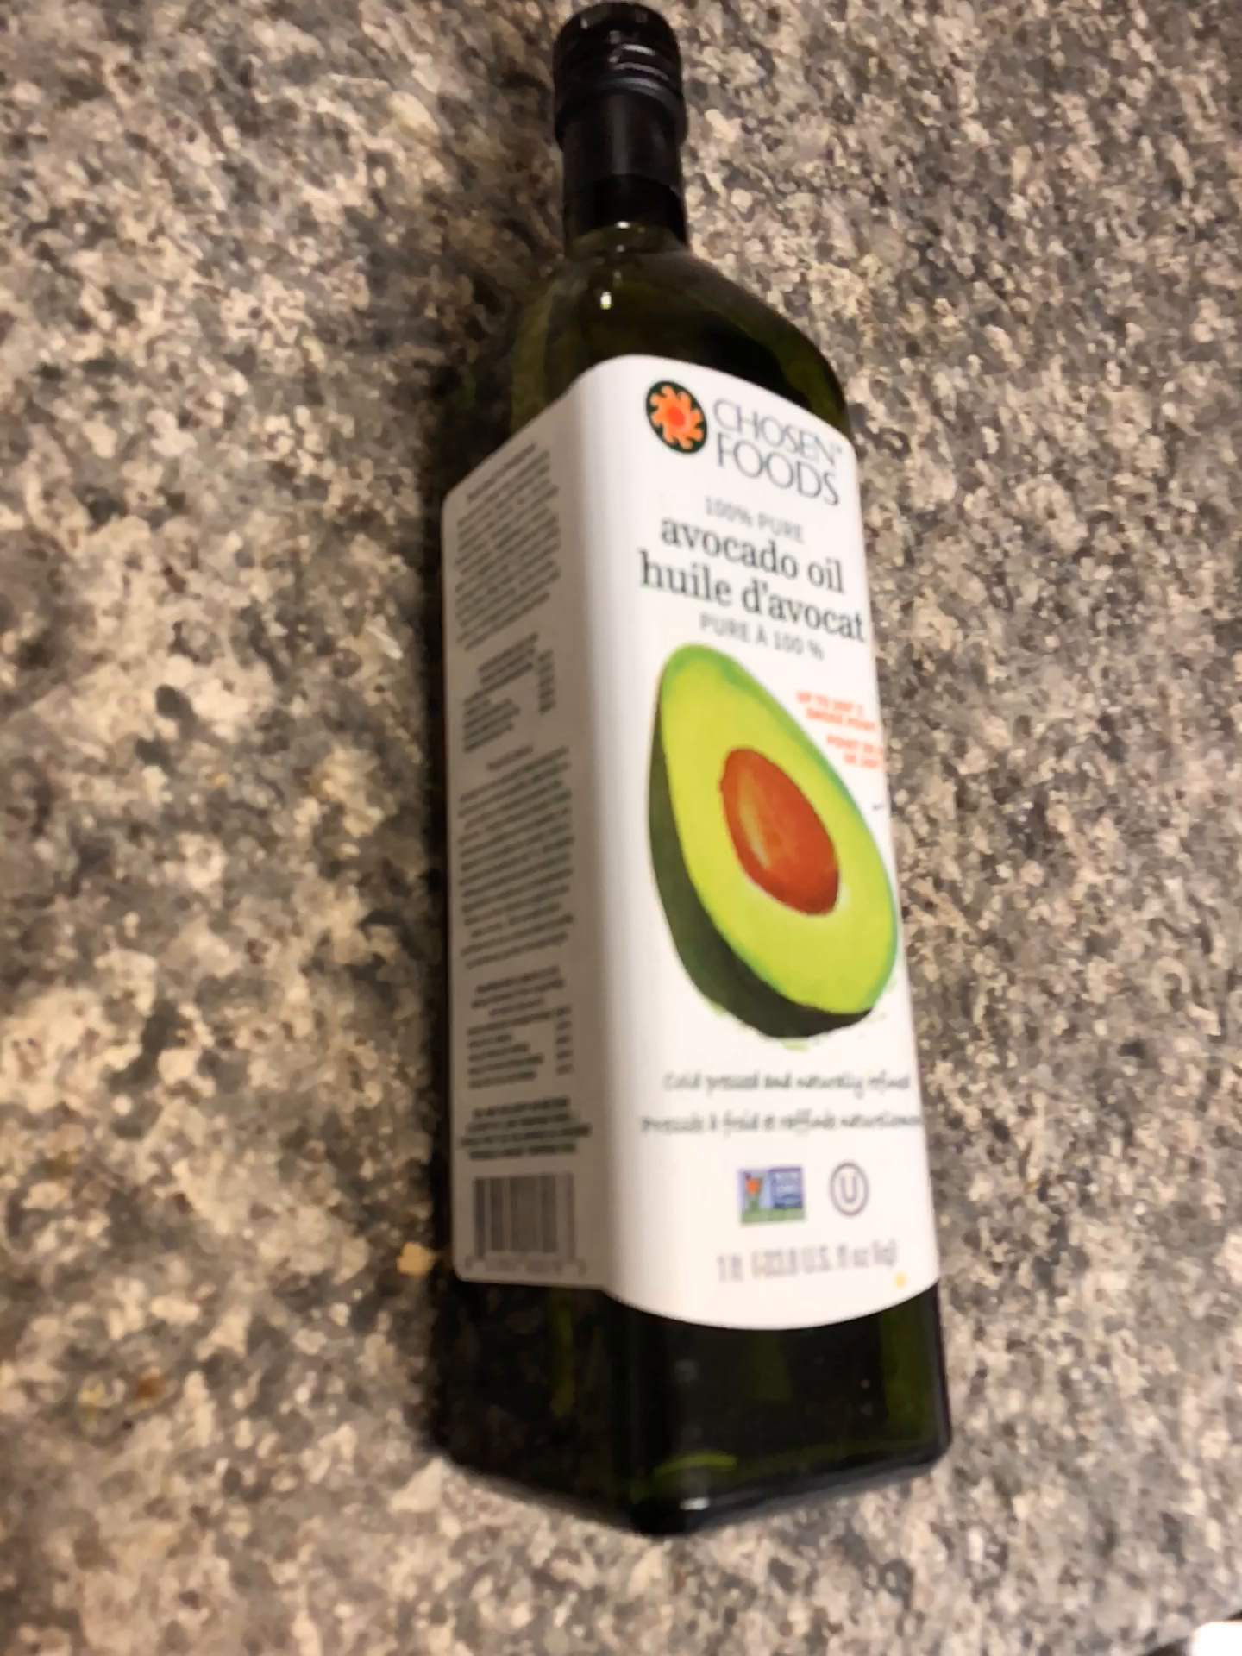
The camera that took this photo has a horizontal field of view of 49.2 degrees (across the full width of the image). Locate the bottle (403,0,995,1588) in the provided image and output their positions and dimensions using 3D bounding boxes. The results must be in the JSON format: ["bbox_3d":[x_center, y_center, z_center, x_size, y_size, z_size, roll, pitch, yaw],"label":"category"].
[{"bbox_3d":[0.008,-0.037,0.280,0.080,0.070,0.320,7,74,-34],"label":"bottle"}]
